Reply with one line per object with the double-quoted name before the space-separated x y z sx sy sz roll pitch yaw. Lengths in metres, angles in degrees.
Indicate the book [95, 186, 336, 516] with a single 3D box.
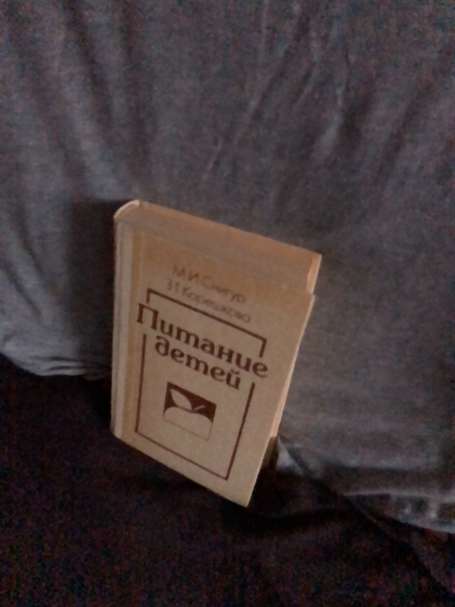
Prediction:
"book" -0.022 0.044 0.366 0.144 0.219 0.041 22 38 18
